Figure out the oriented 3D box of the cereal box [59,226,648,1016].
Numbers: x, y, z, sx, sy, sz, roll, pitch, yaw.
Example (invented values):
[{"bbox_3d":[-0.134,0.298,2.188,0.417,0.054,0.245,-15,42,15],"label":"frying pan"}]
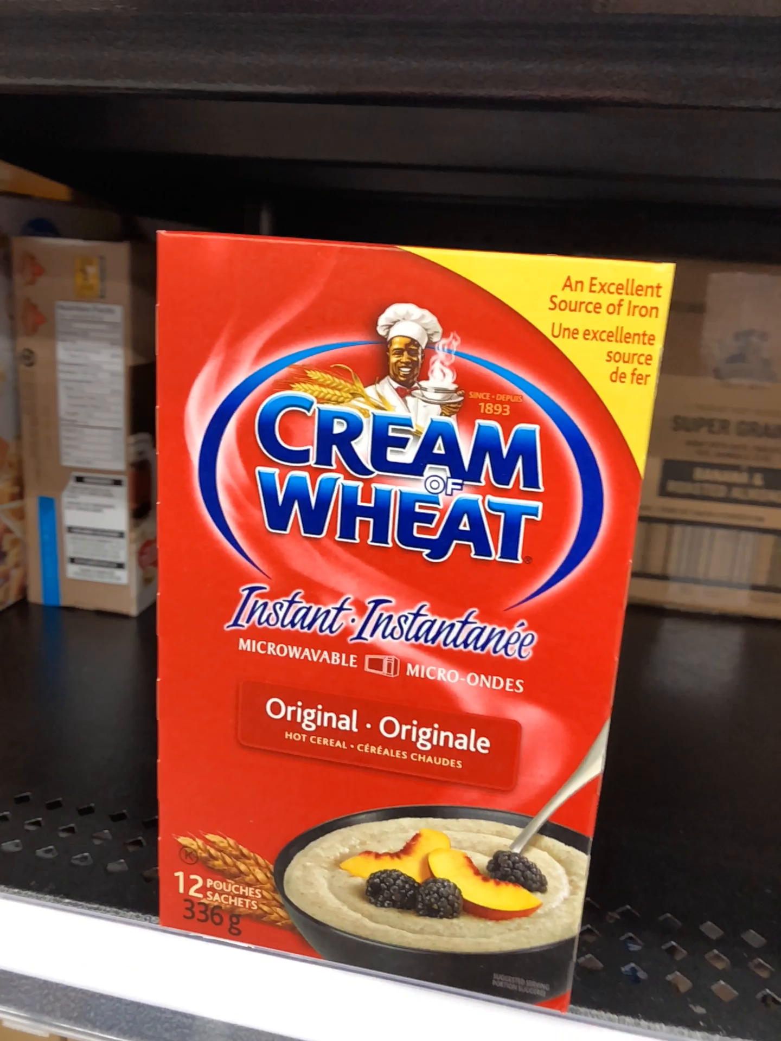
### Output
[{"bbox_3d":[-0.011,0.023,0.241,0.130,0.189,0.060,7,17,11],"label":"cereal box"}]
